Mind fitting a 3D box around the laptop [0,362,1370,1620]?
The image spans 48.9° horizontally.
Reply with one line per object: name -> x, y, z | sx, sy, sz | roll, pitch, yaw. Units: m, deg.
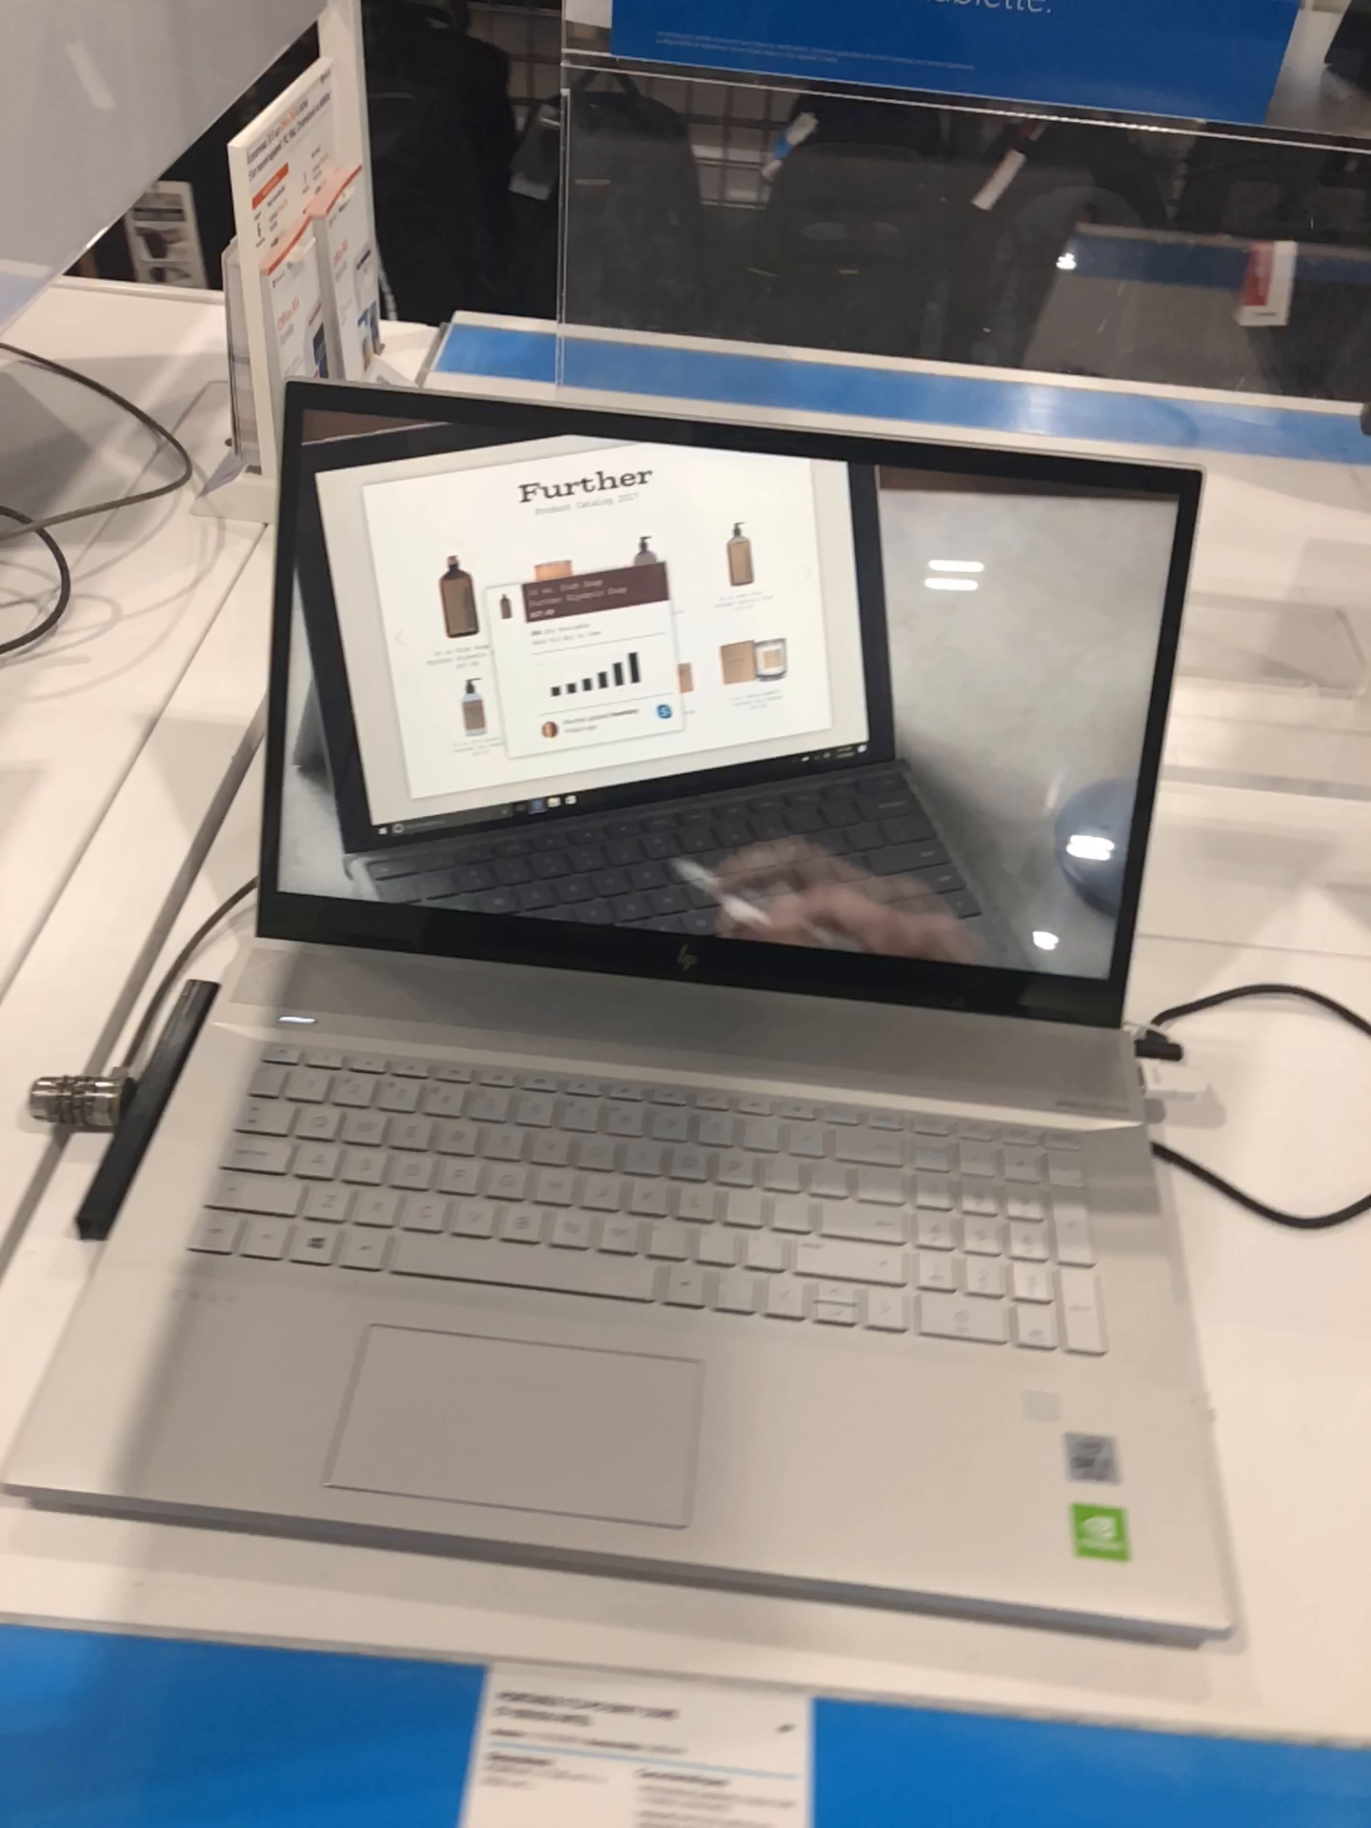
laptop -> -0.002, -0.006, 0.563 | 0.390, 0.199, 0.399 | 6, 42, 0
